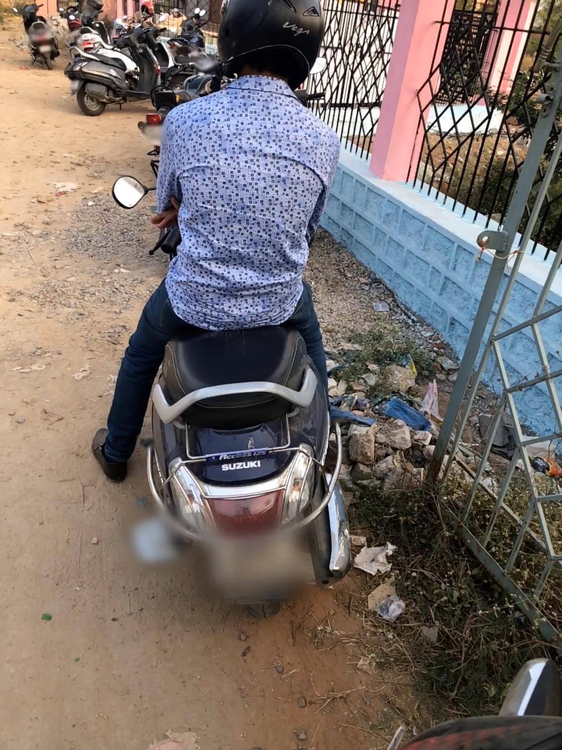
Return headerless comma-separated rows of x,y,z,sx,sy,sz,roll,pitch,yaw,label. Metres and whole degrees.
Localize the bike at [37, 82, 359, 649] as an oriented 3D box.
-0.410,-0.138,1.935,0.593,1.013,1.400,-2,36,-17,bike
